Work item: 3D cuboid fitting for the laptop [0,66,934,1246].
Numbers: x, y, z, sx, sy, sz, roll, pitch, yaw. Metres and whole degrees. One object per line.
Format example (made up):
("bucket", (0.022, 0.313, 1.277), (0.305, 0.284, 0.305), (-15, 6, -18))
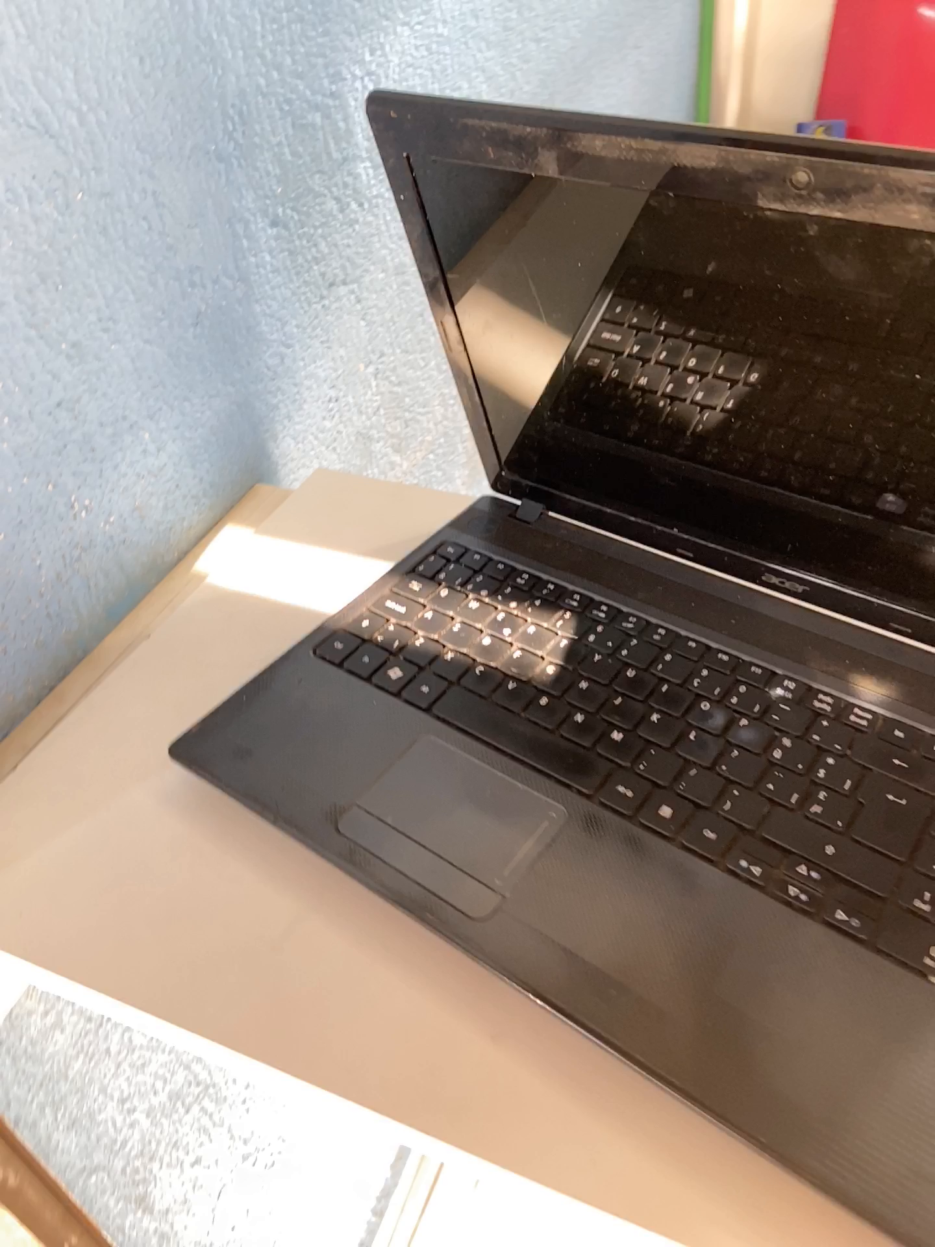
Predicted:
("laptop", (0.077, -0.033, 0.351), (0.375, 0.234, 0.254), (24, 48, 30))
